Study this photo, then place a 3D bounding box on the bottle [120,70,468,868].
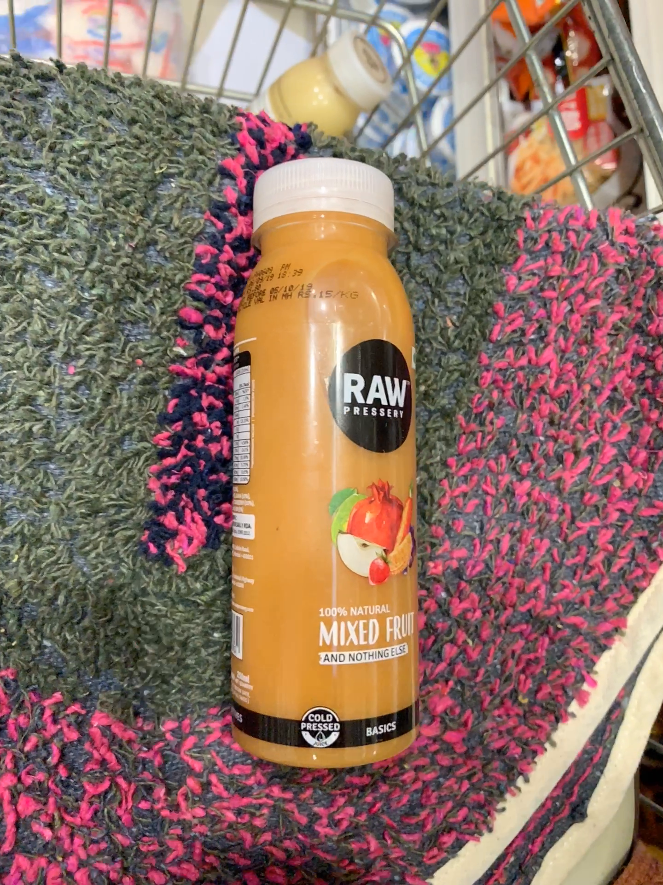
[{"bbox_3d":[-0.010,0.005,0.172,0.060,0.060,0.150,4,84,-39],"label":"bottle"}]
